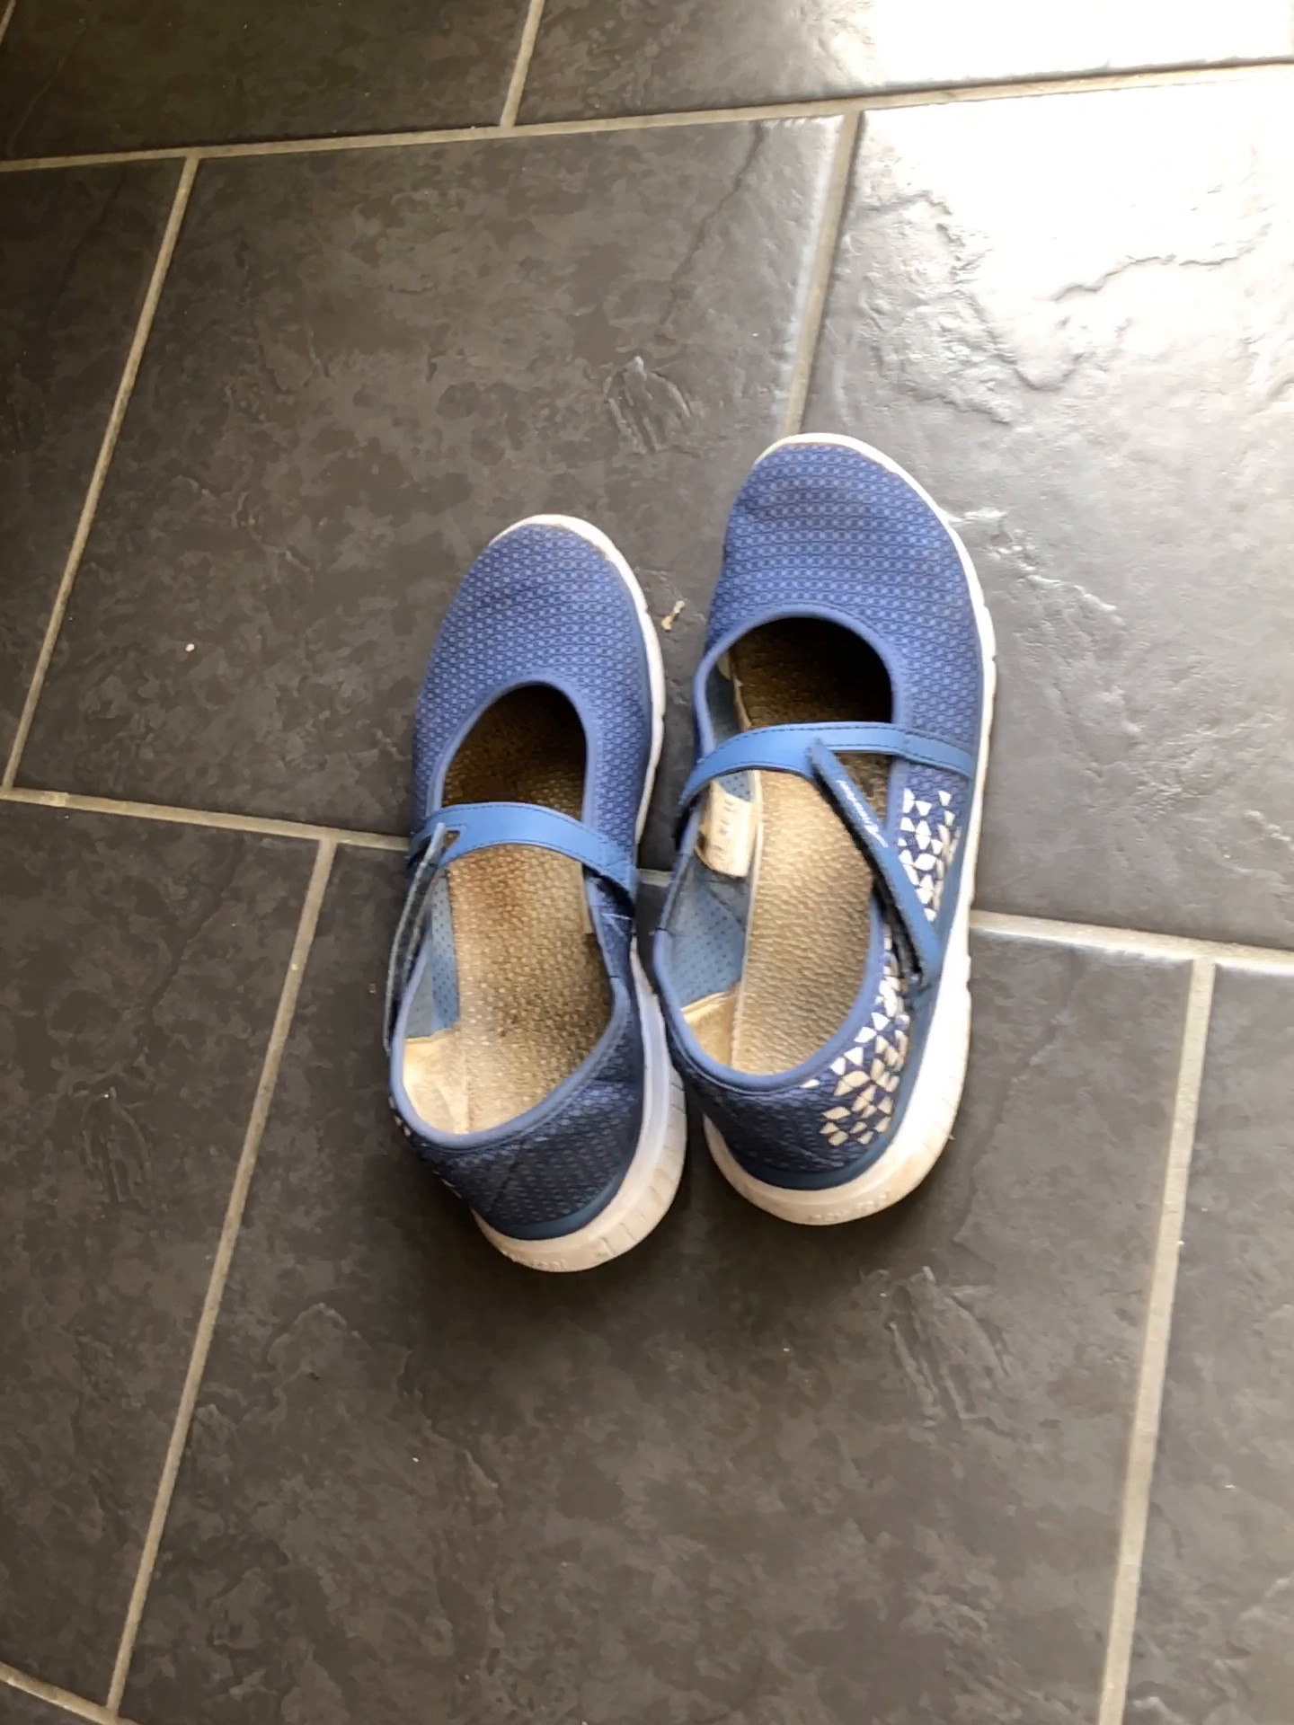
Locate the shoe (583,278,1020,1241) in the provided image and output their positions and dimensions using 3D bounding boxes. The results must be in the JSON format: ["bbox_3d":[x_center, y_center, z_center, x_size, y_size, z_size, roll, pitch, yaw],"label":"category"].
[{"bbox_3d":[0.059,-0.025,0.482,0.110,0.120,0.290,-3,74,20],"label":"shoe"}]

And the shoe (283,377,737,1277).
[{"bbox_3d":[-0.044,-0.004,0.515,0.110,0.120,0.291,-7,73,18],"label":"shoe"}]
